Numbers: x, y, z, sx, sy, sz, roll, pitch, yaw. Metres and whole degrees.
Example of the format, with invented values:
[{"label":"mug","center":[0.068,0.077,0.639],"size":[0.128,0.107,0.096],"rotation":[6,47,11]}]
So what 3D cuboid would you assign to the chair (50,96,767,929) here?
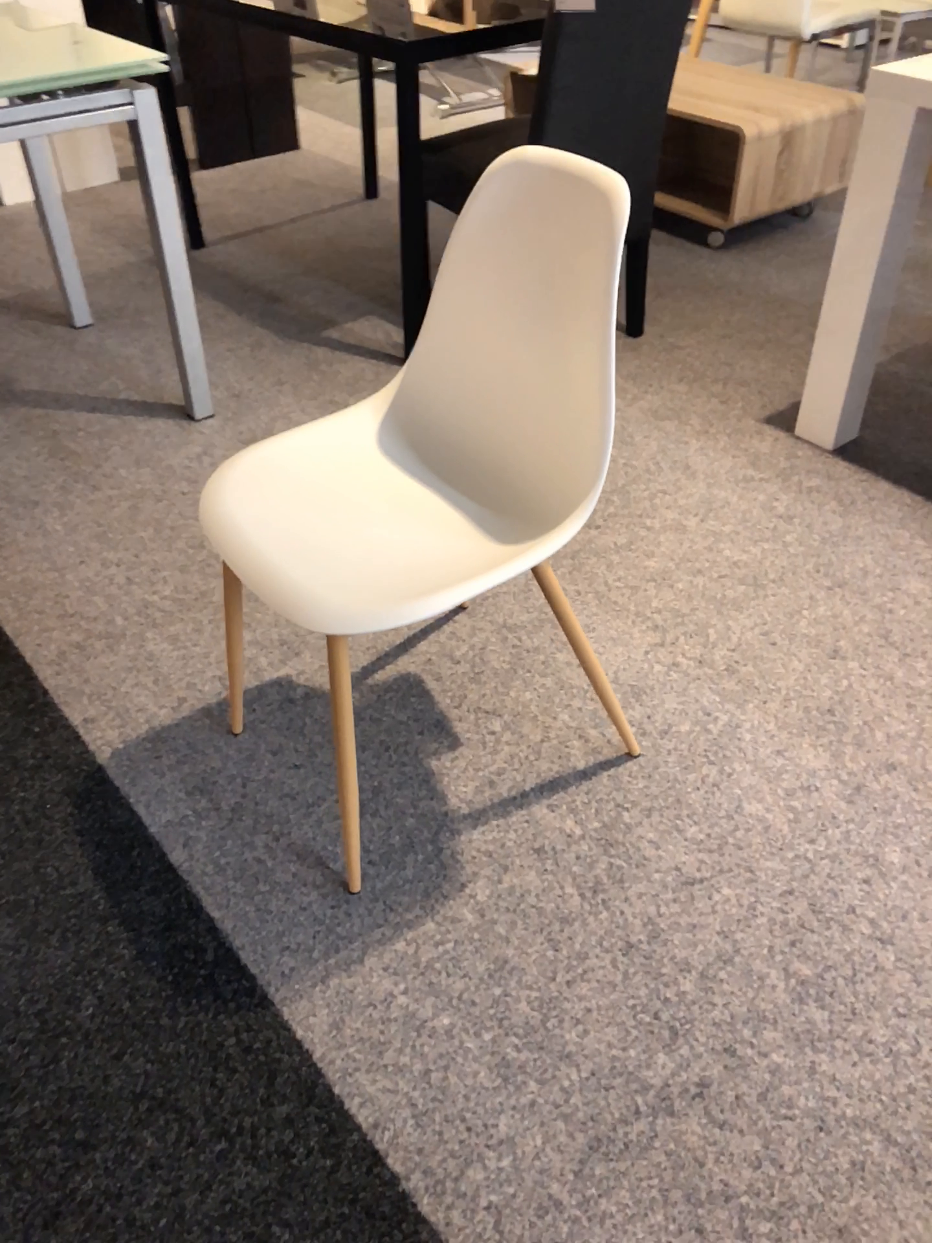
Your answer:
[{"label":"chair","center":[-0.079,-0.173,1.423],"size":[0.602,0.845,0.571],"rotation":[-24,45,-26]}]
